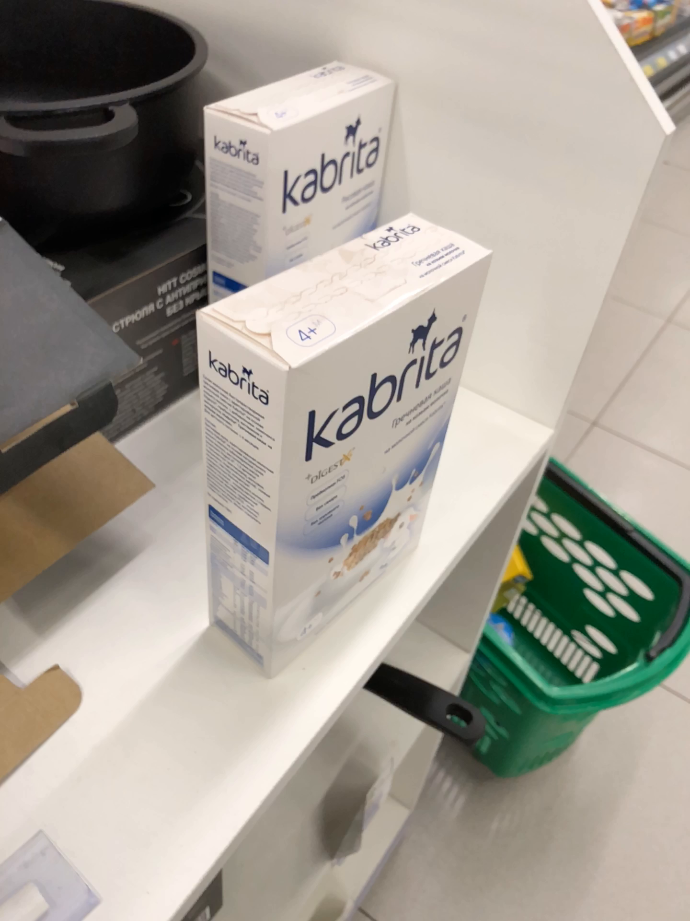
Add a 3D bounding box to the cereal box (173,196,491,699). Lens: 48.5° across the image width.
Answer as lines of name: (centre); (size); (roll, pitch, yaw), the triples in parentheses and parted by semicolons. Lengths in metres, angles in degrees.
cereal box: (-0.010, 0.000, 0.384); (0.050, 0.219, 0.141); (33, 48, 24)
